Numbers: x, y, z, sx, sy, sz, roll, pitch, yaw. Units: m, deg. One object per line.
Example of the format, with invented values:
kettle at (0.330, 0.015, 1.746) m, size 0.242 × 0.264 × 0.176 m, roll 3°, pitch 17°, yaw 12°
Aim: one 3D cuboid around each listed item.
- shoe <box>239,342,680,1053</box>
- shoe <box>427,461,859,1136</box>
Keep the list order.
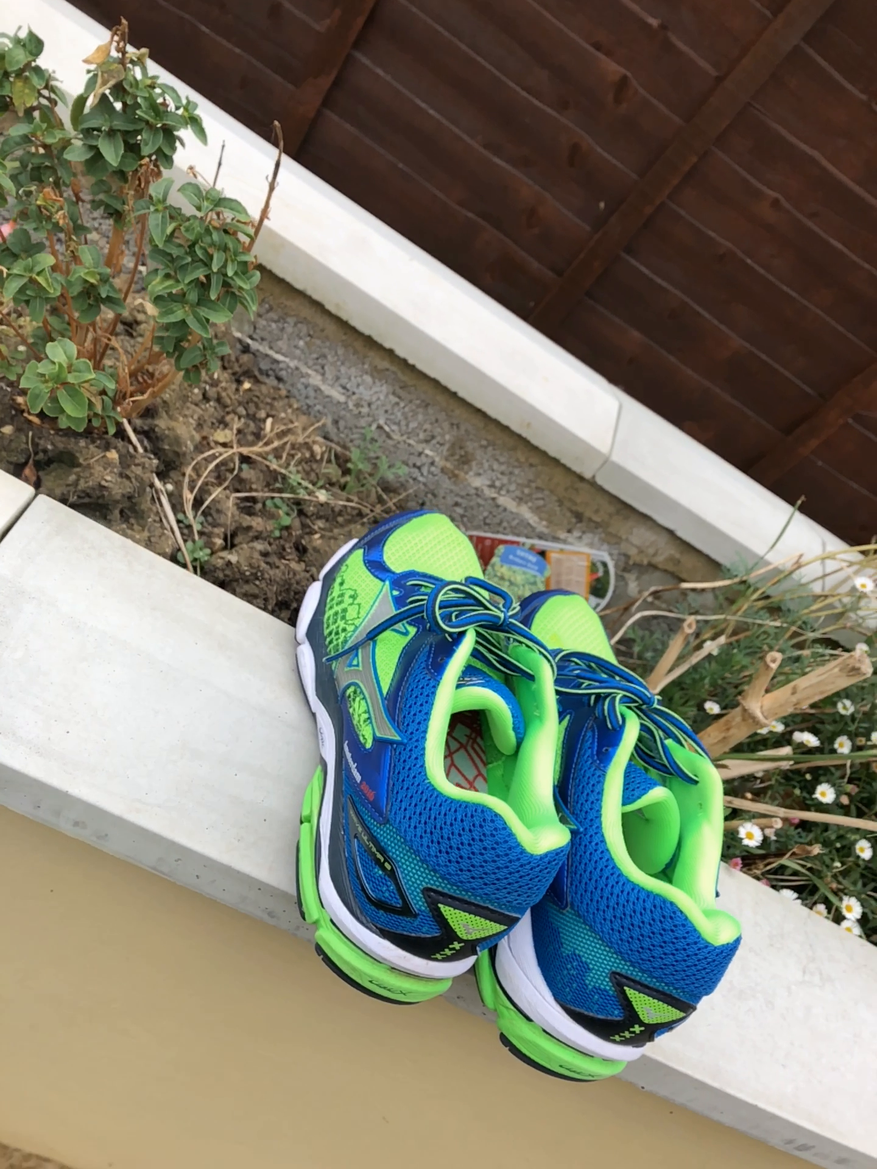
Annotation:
shoe at (0.006, 0.036, 0.450) m, size 0.110 × 0.119 × 0.292 m, roll 25°, pitch 41°, yaw -22°
shoe at (0.085, 0.084, 0.483) m, size 0.110 × 0.119 × 0.292 m, roll 30°, pitch 35°, yaw -17°
